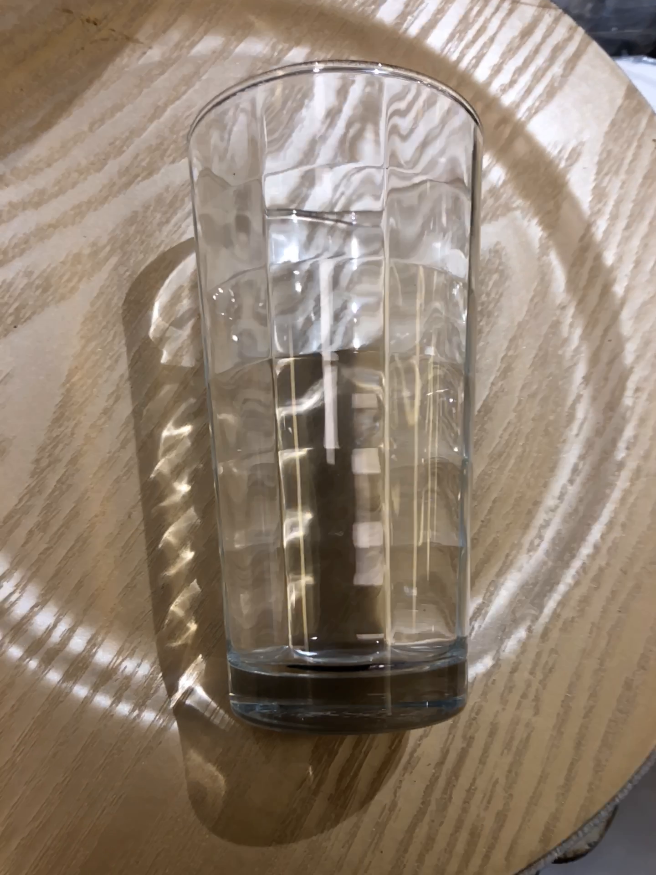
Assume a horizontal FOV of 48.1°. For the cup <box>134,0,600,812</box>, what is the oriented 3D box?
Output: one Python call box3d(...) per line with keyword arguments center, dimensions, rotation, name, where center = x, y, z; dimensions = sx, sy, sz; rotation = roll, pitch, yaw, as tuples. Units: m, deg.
box3d(center=(-0.002, -0.015, 0.193), dimensions=(0.090, 0.080, 0.180), rotation=(1, 78, -13), name="cup")
